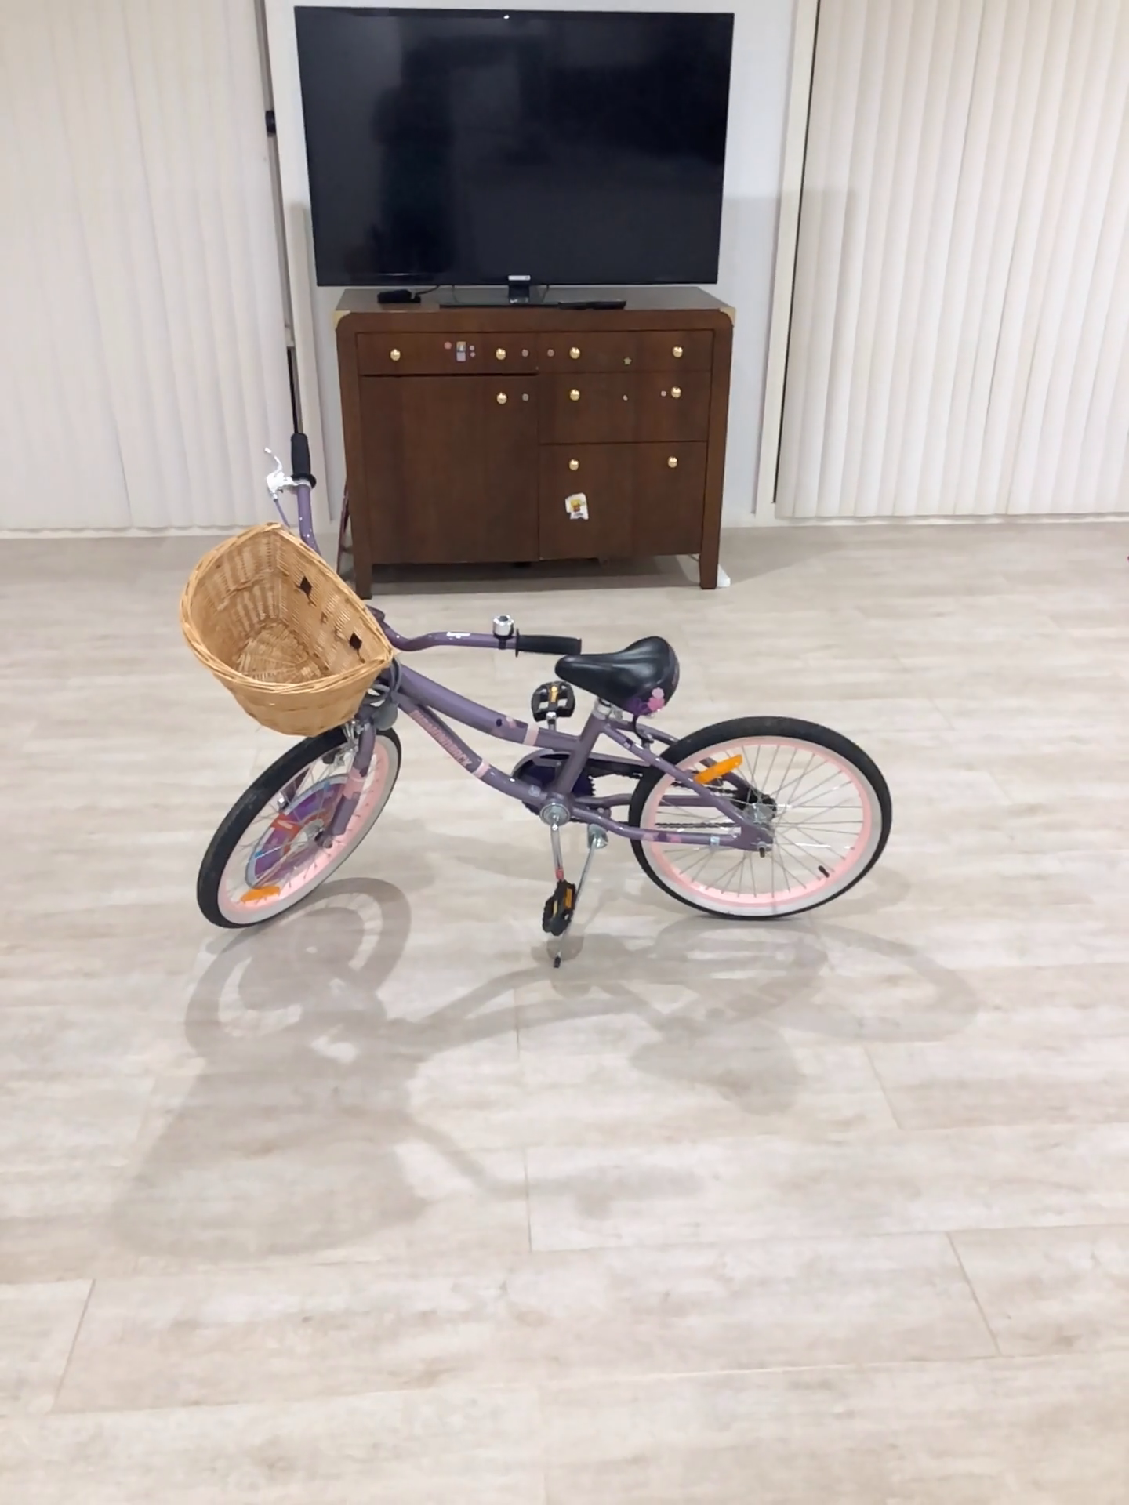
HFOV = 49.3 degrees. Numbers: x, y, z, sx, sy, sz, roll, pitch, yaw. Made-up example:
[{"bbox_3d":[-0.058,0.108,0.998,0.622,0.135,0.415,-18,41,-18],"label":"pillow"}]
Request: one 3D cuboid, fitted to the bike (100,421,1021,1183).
[{"bbox_3d":[-0.027,0.035,2.133,1.214,0.878,0.751,-6,27,-3],"label":"bike"}]
